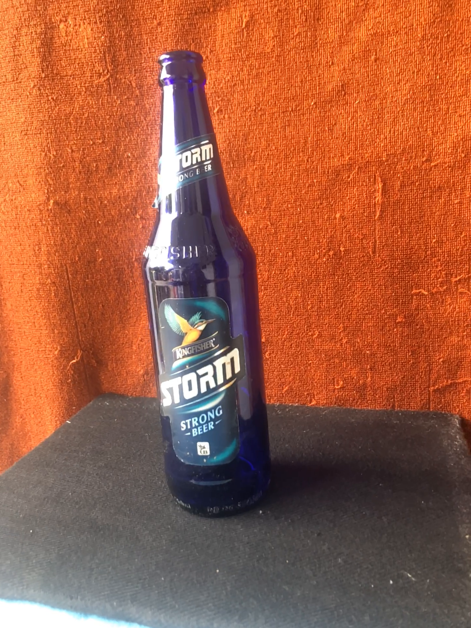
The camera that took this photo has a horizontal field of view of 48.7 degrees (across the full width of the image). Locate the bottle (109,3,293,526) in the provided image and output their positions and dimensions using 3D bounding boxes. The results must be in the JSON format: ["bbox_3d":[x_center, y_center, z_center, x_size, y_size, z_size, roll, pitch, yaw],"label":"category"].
[{"bbox_3d":[-0.008,-0.018,0.317,0.080,0.279,0.080,-3,16,1],"label":"bottle"}]
